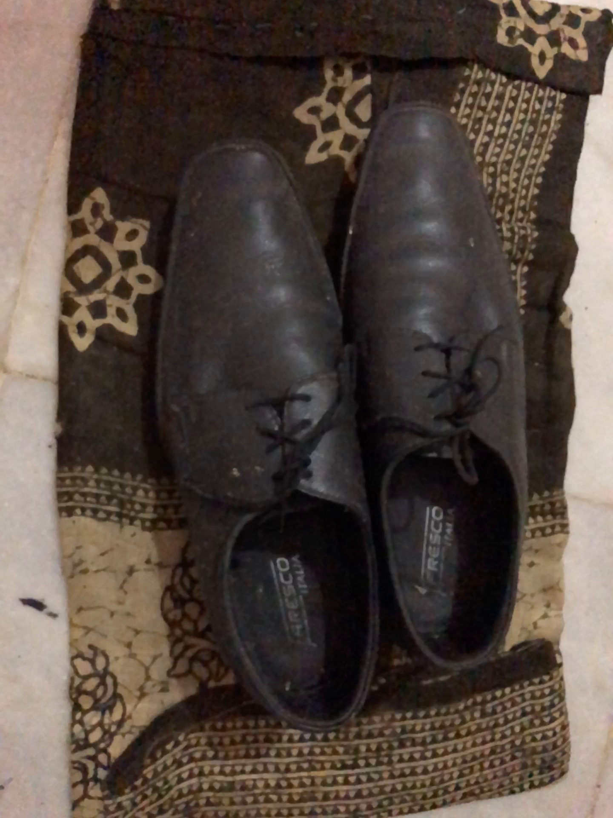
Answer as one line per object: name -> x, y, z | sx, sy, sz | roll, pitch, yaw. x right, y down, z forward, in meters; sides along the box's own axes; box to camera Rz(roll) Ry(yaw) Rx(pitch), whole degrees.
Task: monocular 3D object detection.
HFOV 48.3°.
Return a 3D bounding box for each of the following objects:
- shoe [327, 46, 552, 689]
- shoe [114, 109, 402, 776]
shoe -> 0.076, -0.021, 0.405 | 0.110, 0.070, 0.340 | -2, 93, -9
shoe -> -0.027, 0.017, 0.394 | 0.110, 0.070, 0.340 | -7, 94, -8
